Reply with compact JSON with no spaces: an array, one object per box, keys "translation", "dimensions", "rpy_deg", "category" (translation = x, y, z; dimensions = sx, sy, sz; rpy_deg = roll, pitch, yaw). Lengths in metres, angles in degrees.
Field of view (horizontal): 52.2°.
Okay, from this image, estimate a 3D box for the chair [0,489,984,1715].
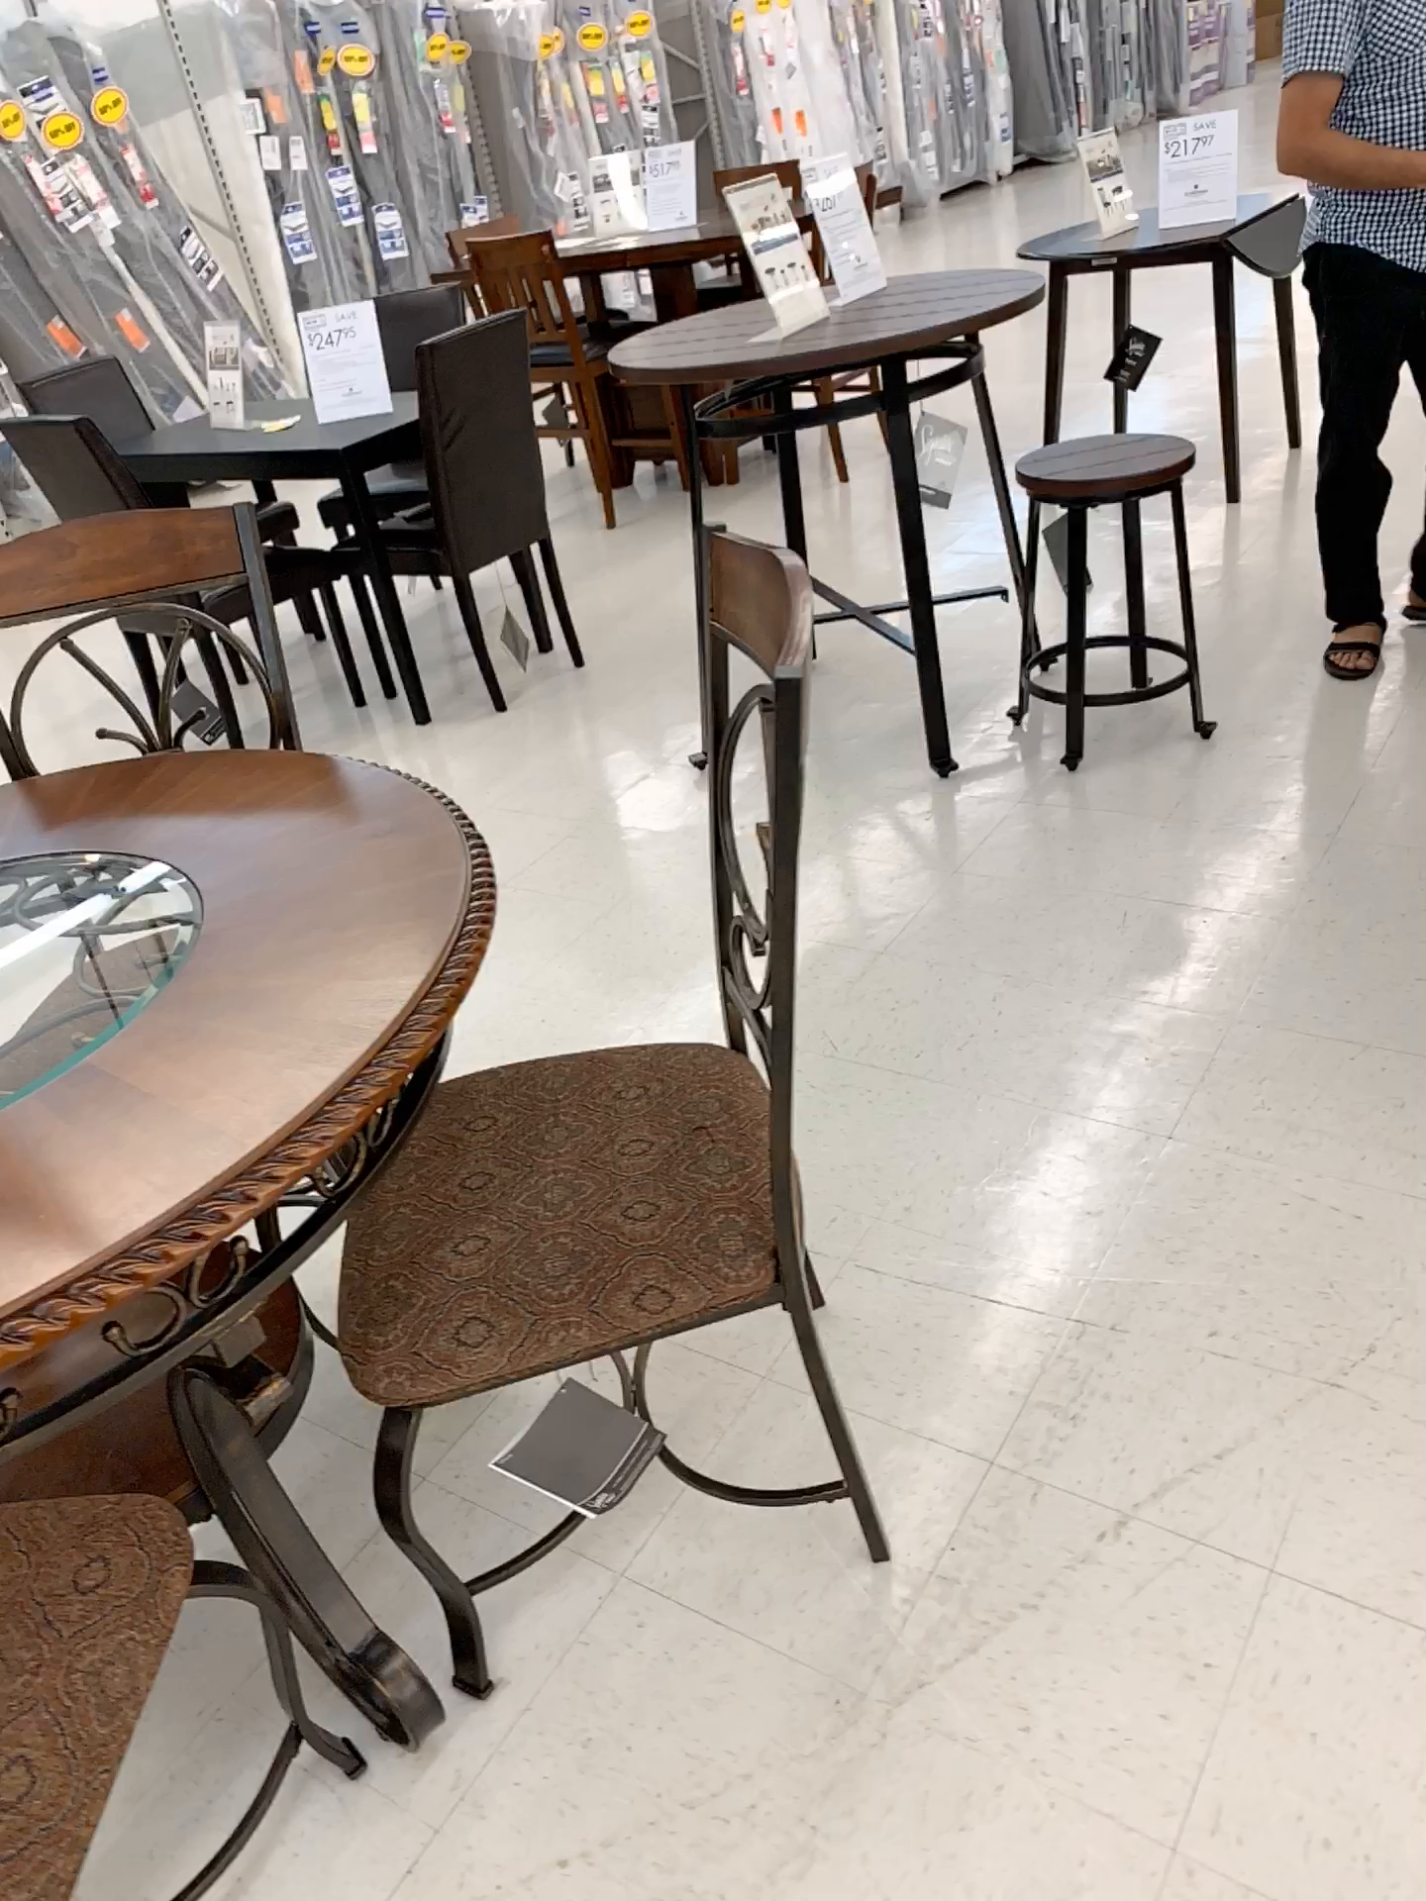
[{"translation":[-0.127,0.157,1.419],"dimensions":[0.580,0.974,0.523],"rpy_deg":[-11,30,1],"category":"chair"}]
